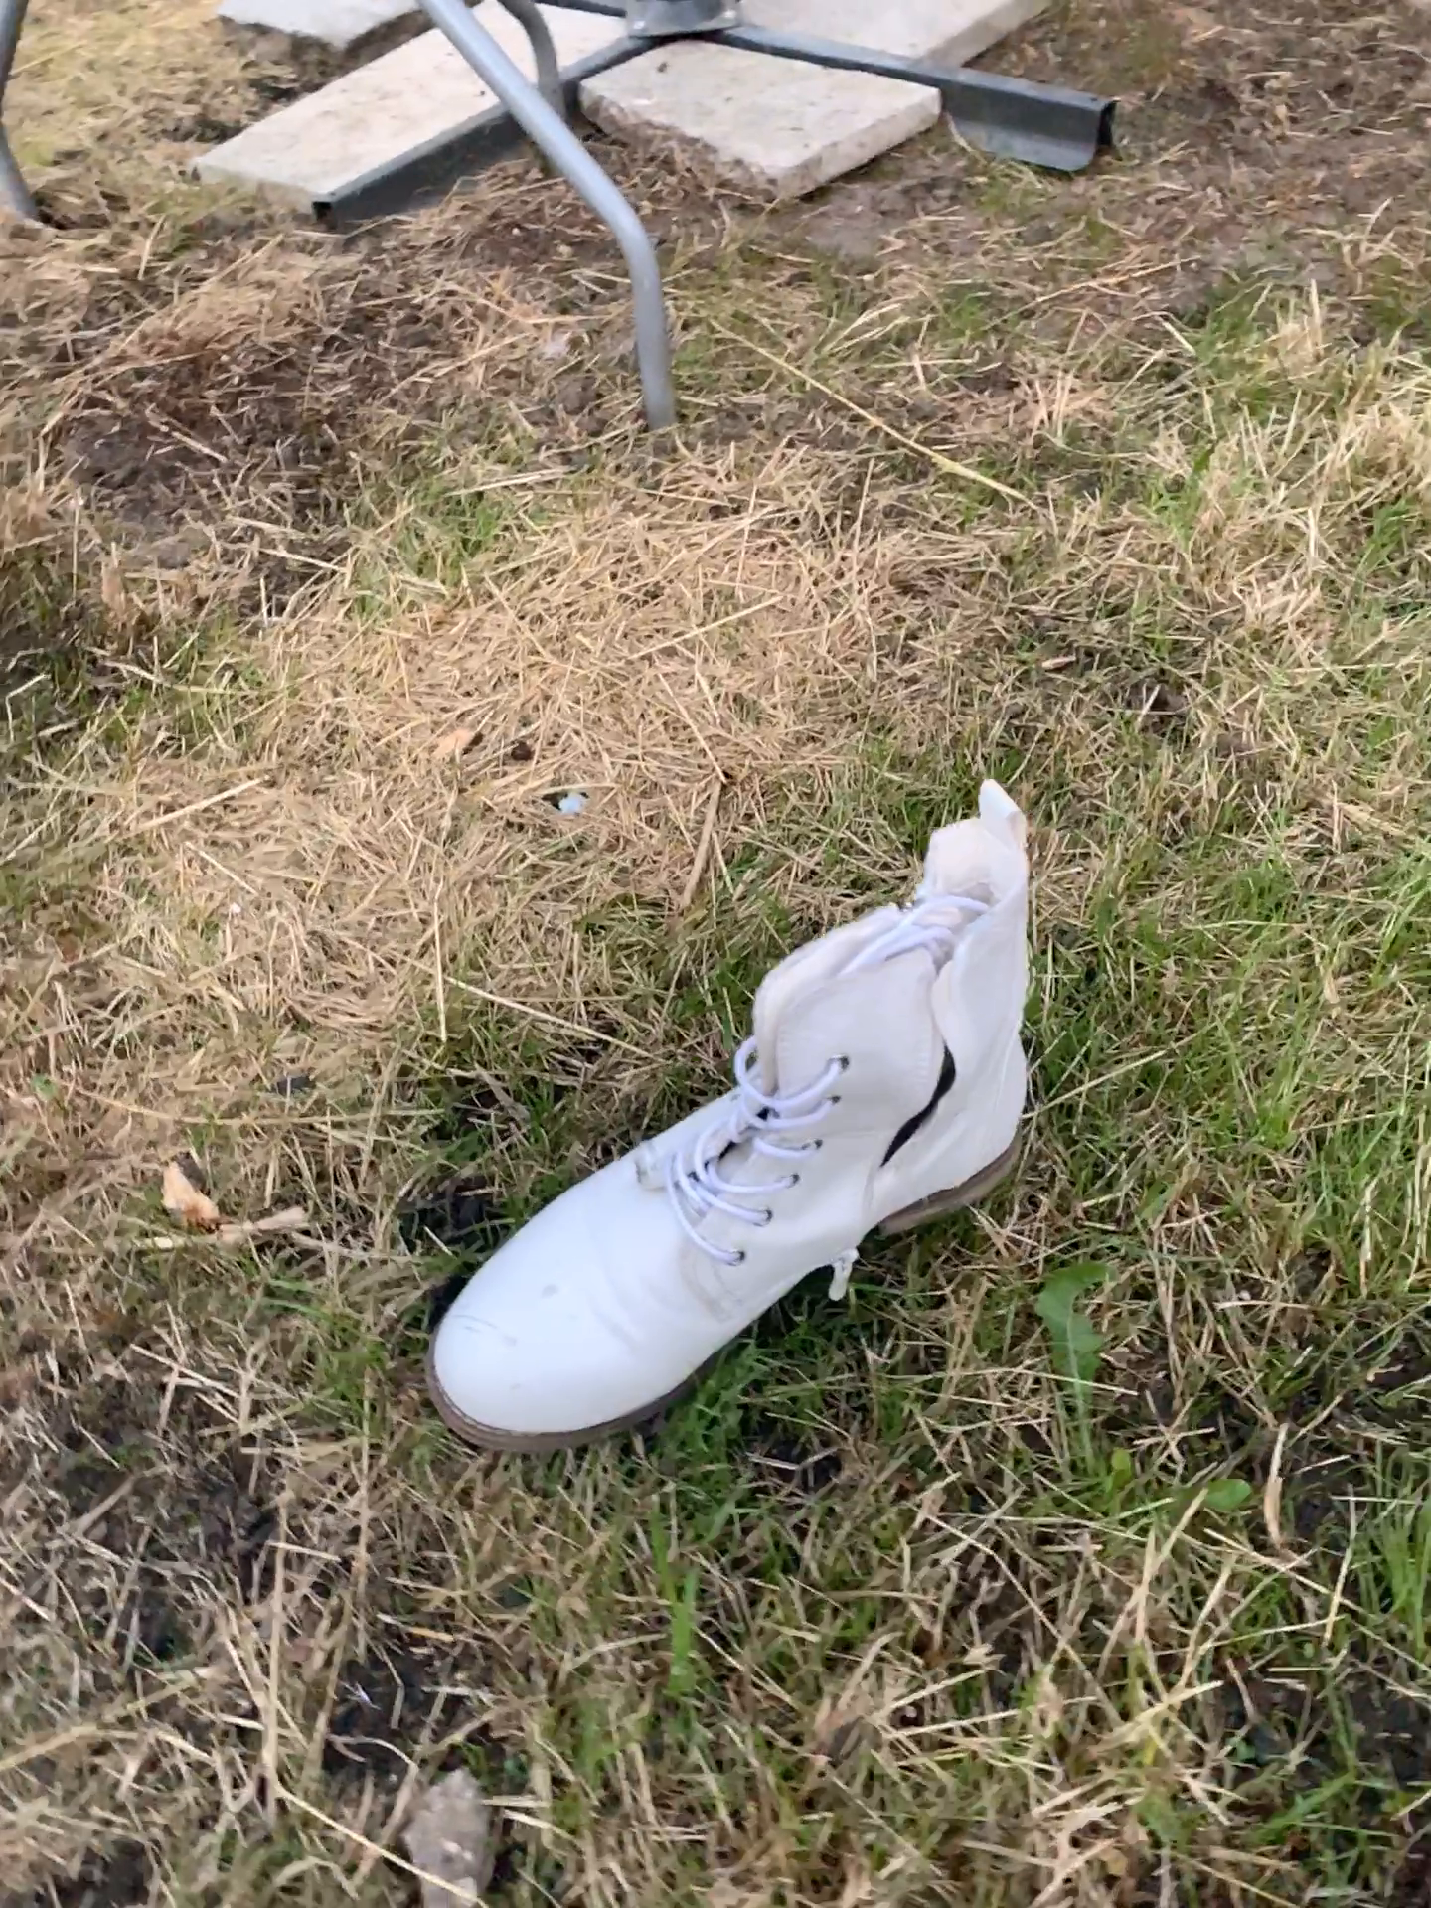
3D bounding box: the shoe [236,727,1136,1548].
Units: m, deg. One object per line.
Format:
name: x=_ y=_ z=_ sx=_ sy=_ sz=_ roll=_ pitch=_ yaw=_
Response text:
shoe: x=-0.001 y=0.065 z=0.513 sx=0.260 sy=0.178 sz=0.101 roll=-26 pitch=51 yaw=-16
